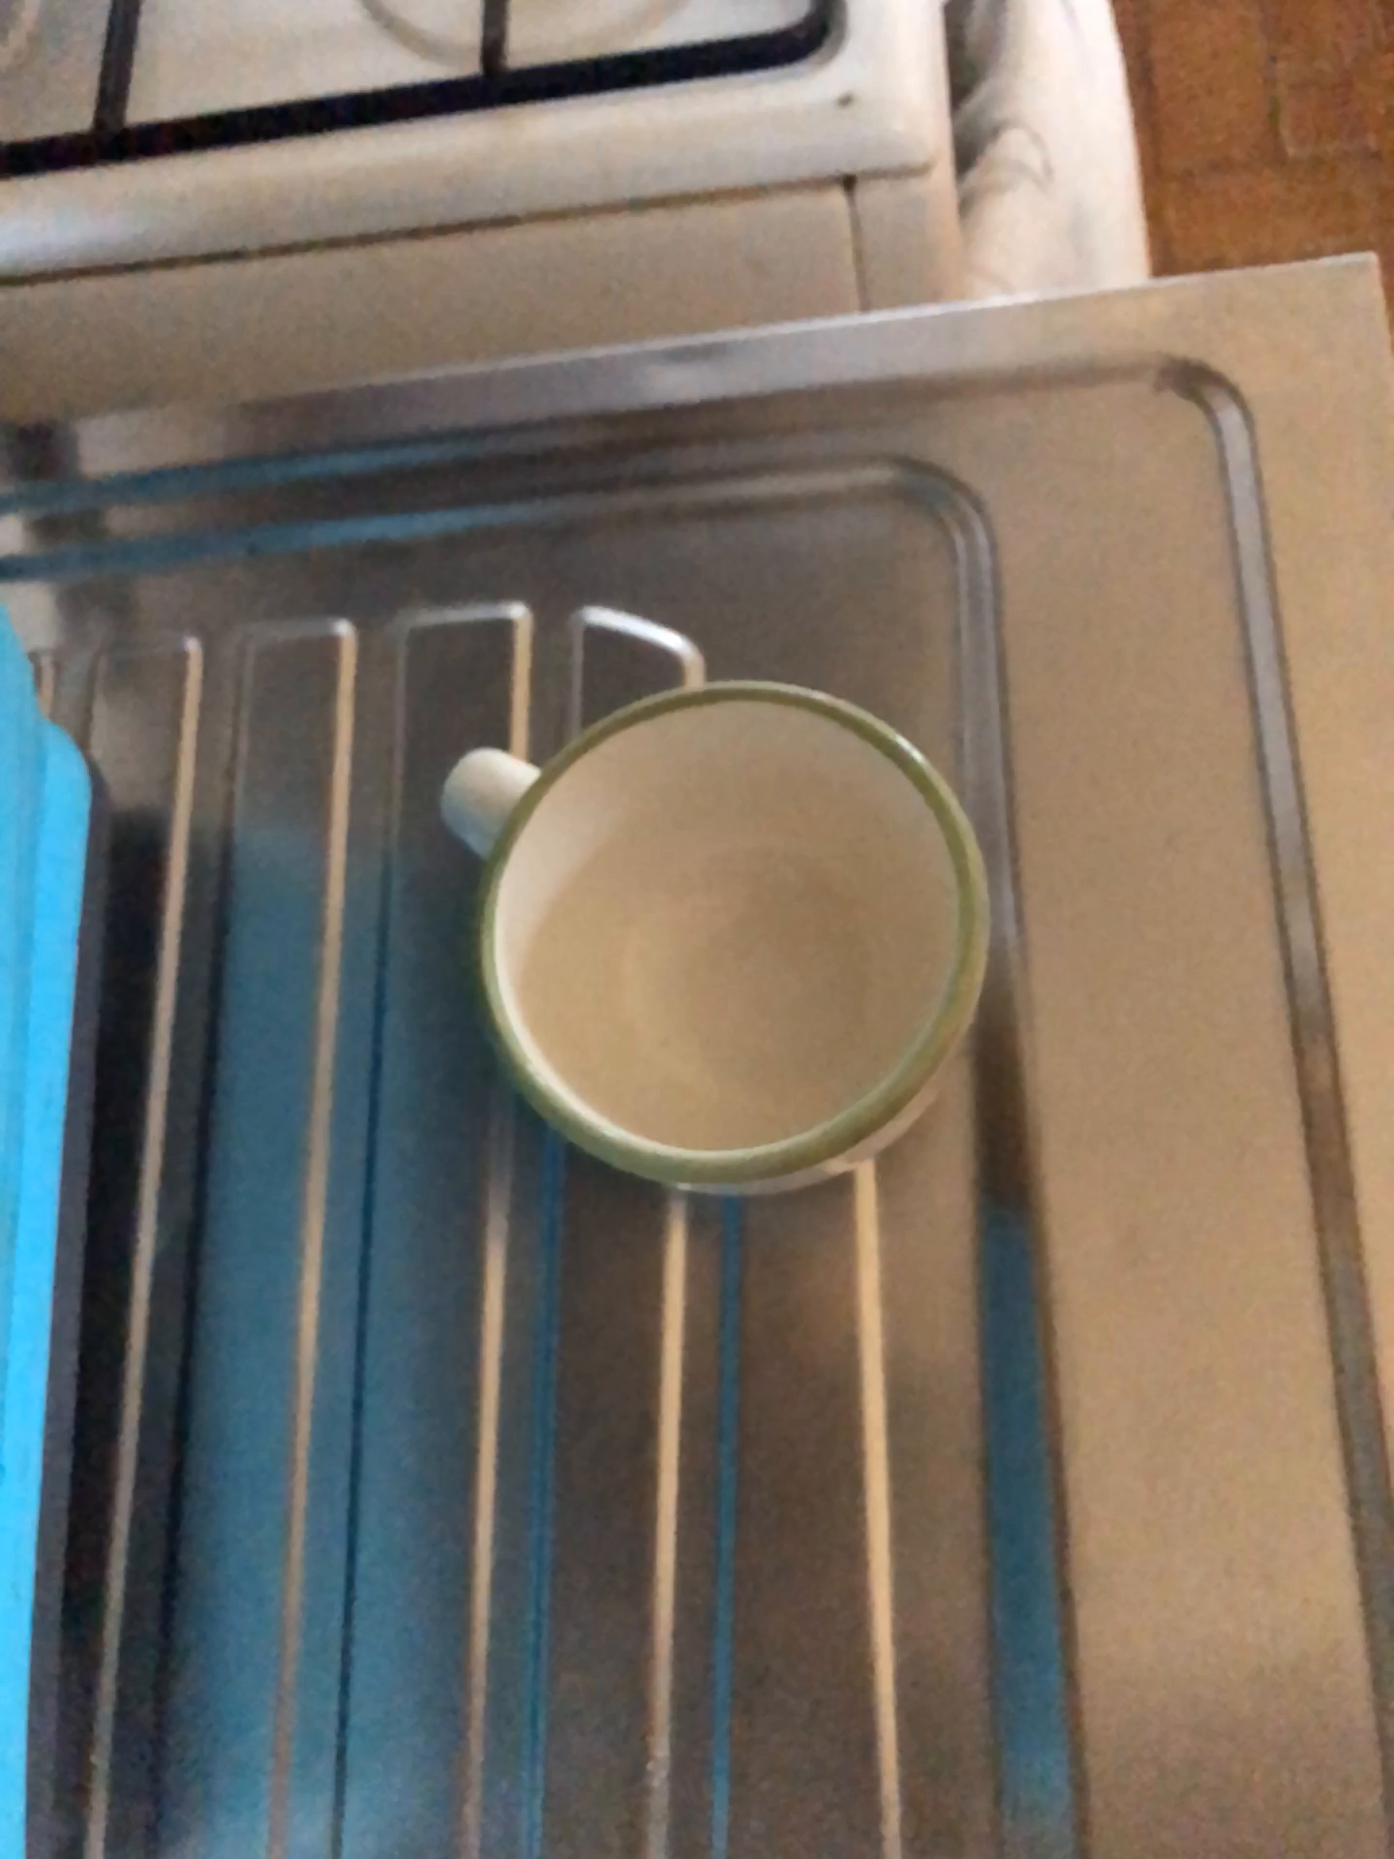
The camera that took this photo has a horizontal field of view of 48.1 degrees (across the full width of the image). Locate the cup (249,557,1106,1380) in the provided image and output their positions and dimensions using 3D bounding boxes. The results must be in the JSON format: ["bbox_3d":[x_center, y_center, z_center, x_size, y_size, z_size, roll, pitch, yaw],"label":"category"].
[{"bbox_3d":[-0.001,0.008,0.283,0.110,0.060,0.090,37,82,19],"label":"cup"}]
